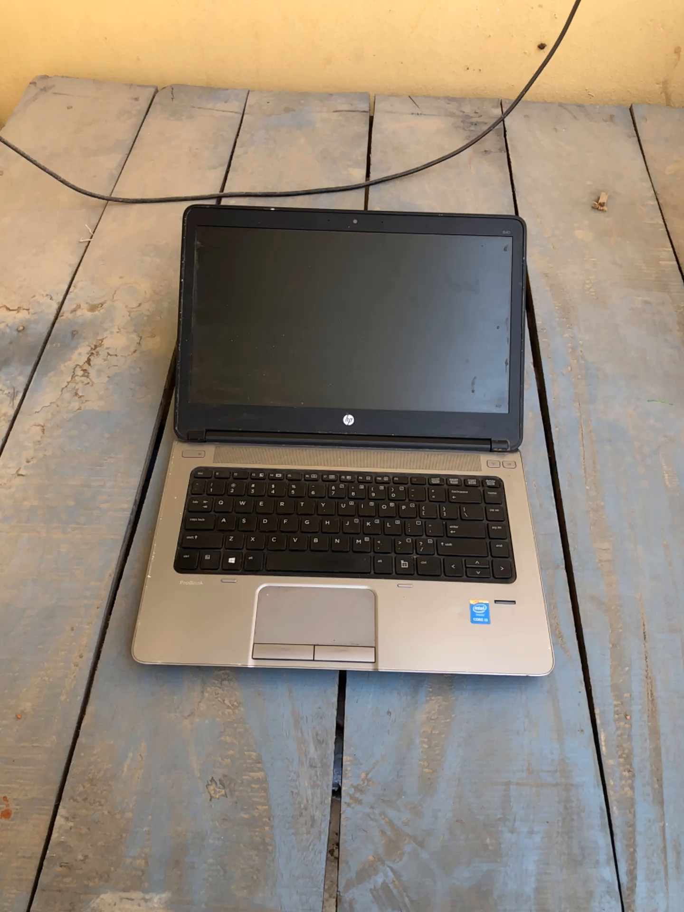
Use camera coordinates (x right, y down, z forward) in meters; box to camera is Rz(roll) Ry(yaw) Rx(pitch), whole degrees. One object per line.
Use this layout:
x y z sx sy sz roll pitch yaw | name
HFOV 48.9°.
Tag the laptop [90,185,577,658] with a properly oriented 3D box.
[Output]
-0.003 -0.050 0.632 0.306 0.123 0.390 1 55 1 | laptop
